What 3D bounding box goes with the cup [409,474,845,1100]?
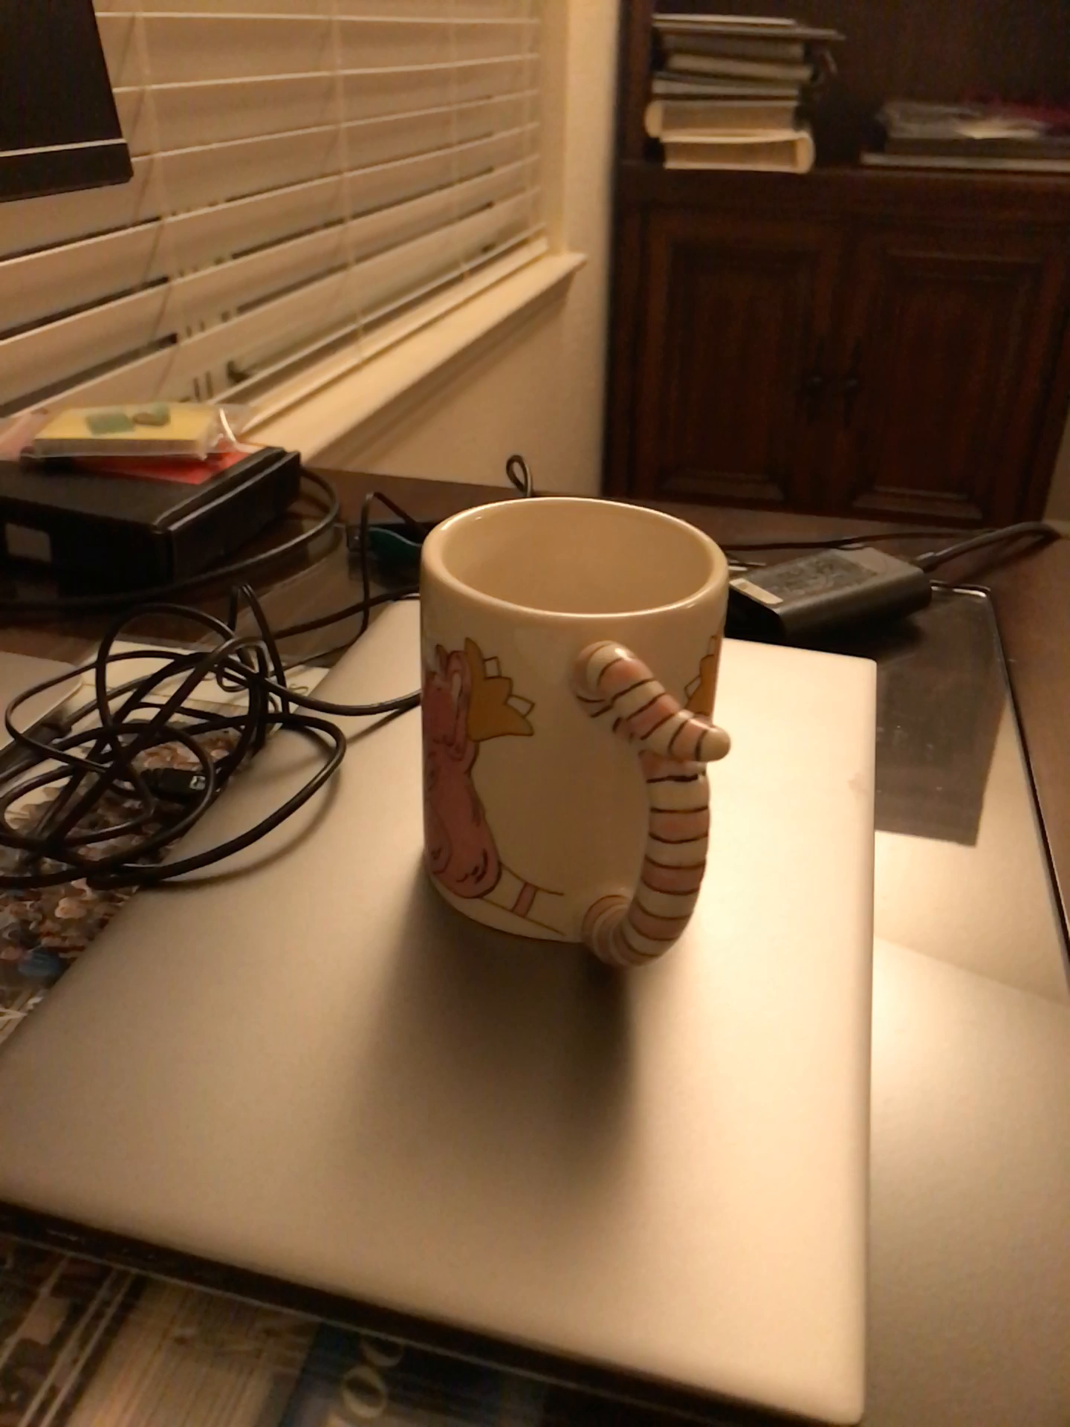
[{"bbox_3d":[0.011,0.009,0.298,0.080,0.099,0.131,-2,30,-6],"label":"cup"}]
